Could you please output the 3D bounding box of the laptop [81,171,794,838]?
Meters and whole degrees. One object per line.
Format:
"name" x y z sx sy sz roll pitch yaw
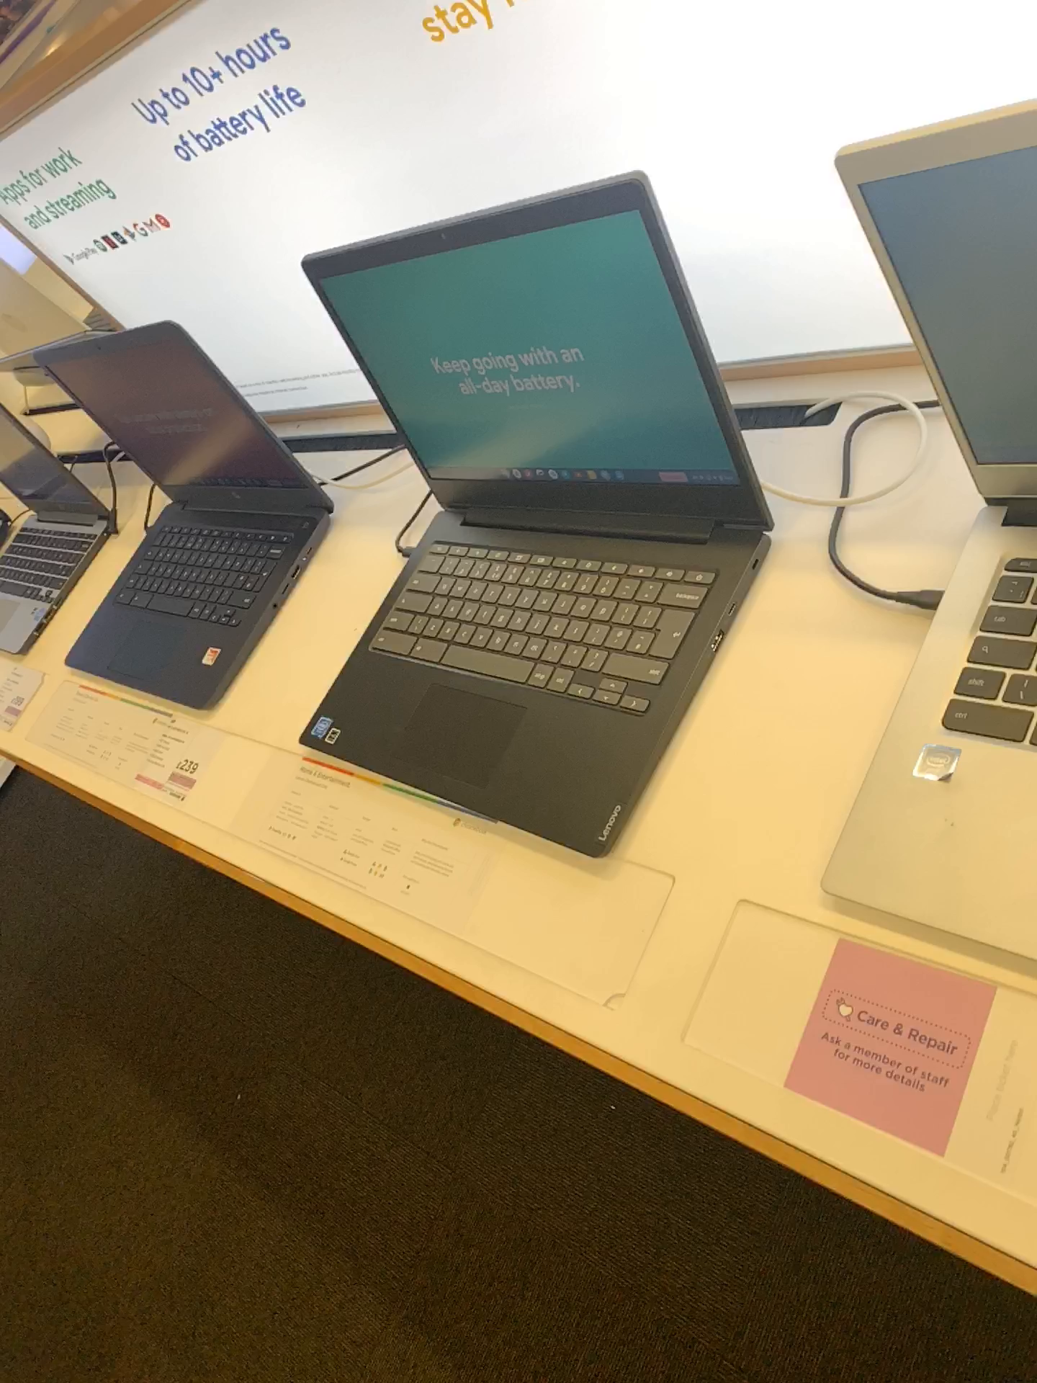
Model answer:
"laptop" -0.057 -0.115 0.677 0.317 0.201 0.281 13 68 46
